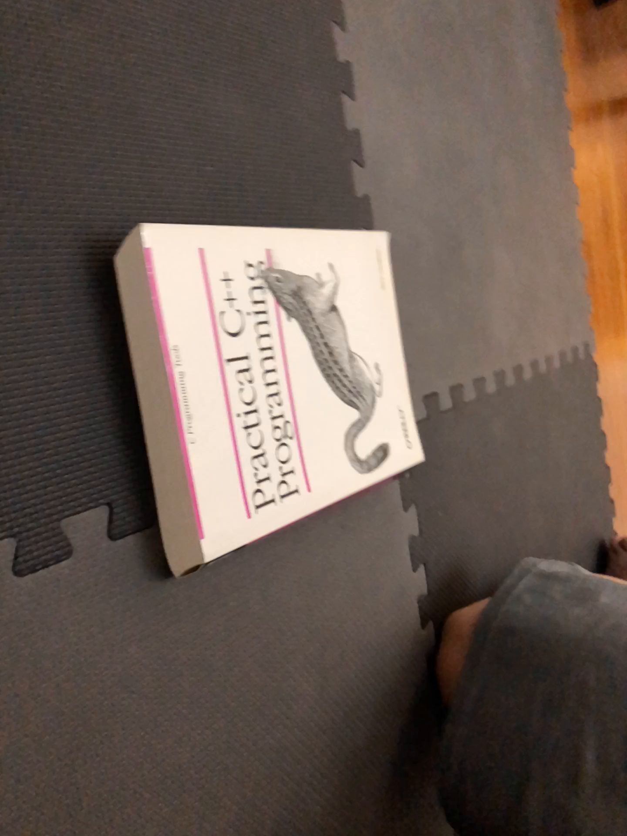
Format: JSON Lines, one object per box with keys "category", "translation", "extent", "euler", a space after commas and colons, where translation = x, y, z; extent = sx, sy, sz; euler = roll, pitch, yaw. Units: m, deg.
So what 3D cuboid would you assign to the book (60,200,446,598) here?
{"category": "book", "translation": [-0.015, -0.027, 0.453], "extent": [0.251, 0.050, 0.200], "euler": [-17, 94, -51]}
